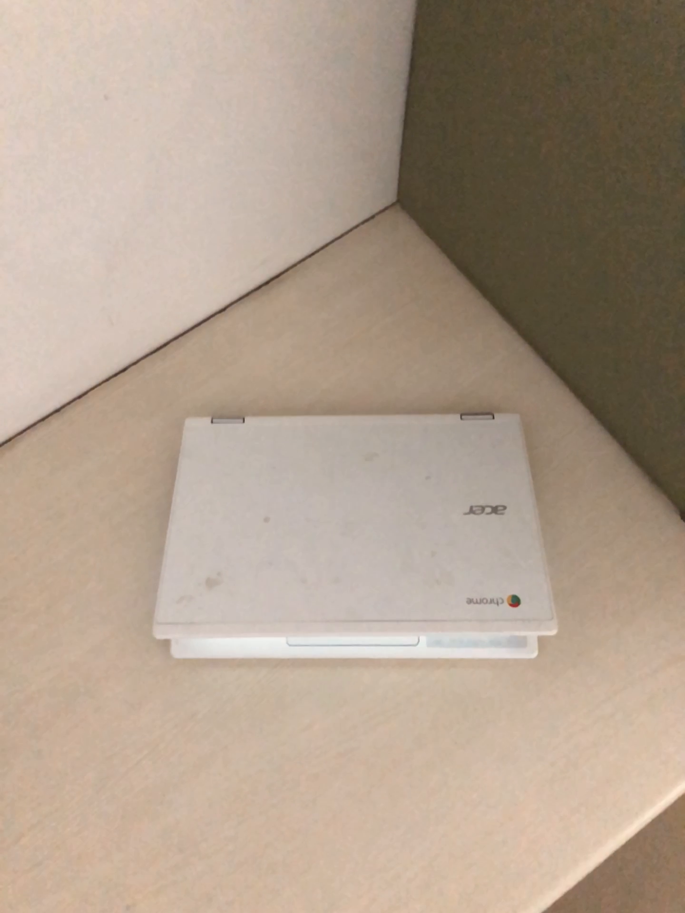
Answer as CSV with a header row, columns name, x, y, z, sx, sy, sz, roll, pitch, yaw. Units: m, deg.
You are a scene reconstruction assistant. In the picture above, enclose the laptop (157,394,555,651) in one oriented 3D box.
name,x,y,z,sx,sy,sz,roll,pitch,yaw
laptop,0.010,0.051,0.590,0.282,0.055,0.192,0,71,1
